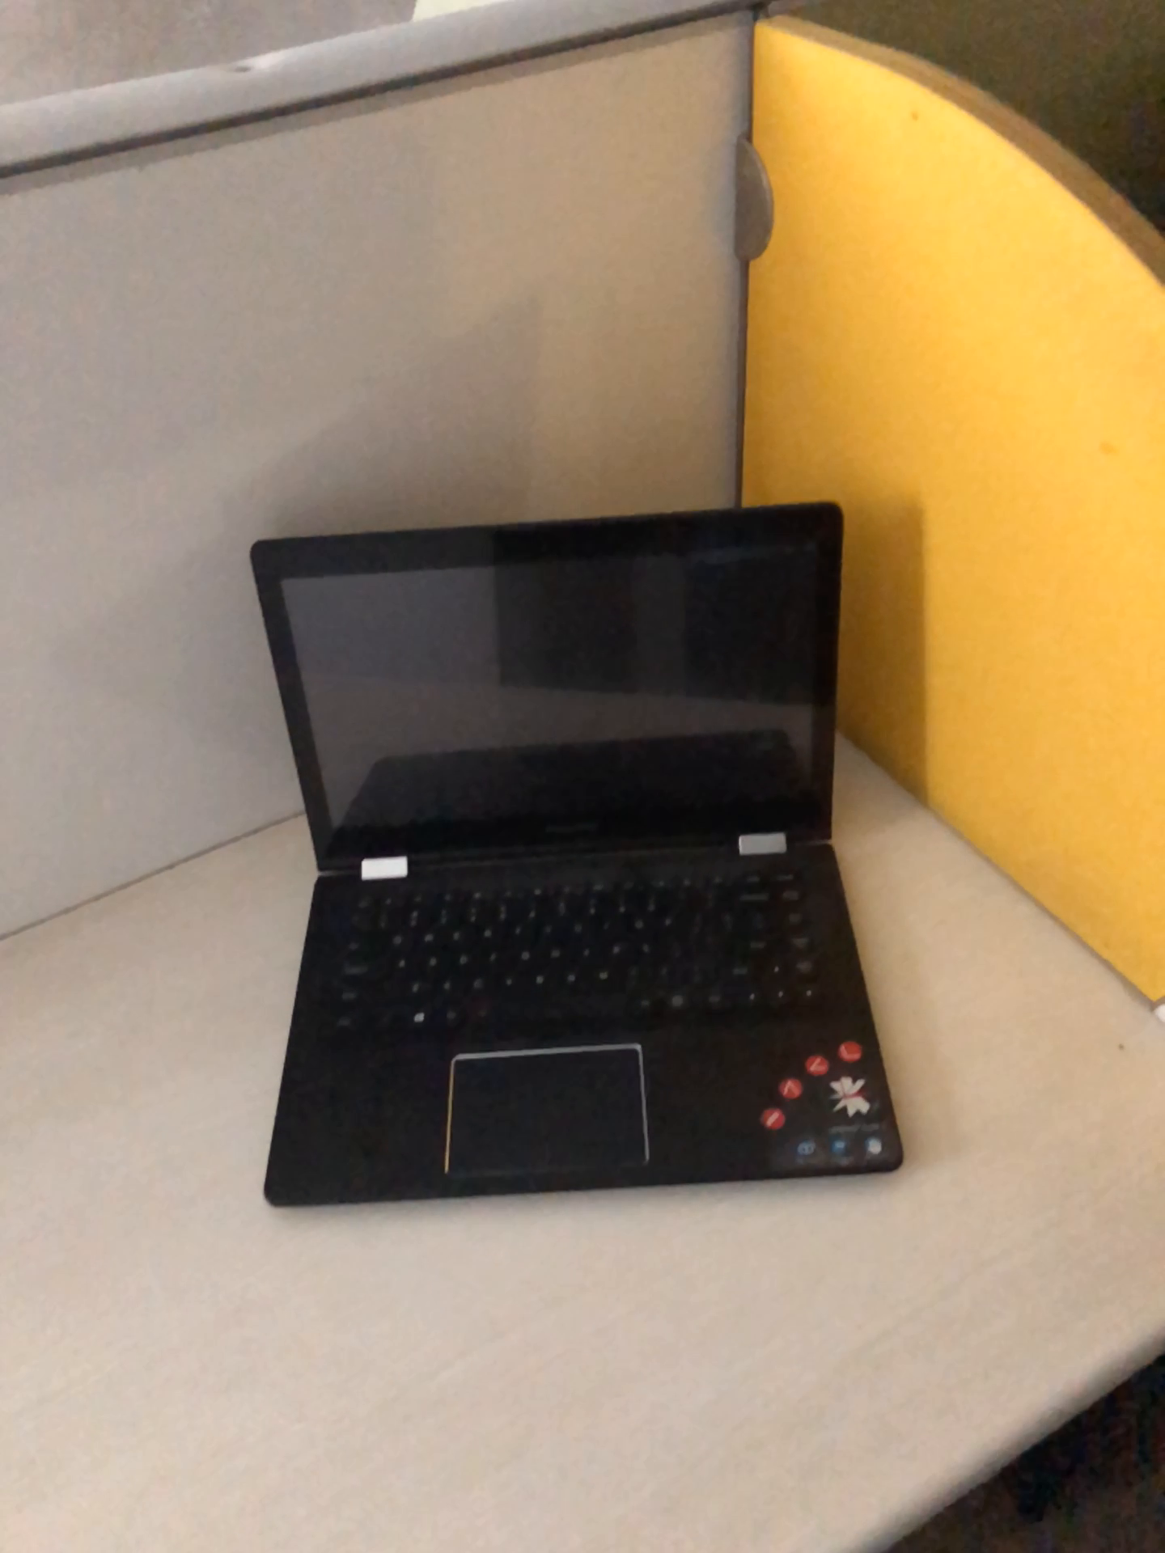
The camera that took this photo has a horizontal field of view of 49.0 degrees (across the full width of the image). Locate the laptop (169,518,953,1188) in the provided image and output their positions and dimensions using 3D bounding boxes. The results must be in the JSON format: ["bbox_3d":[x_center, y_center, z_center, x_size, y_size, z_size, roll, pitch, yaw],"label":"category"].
[{"bbox_3d":[-0.008,0.037,0.681,0.311,0.225,0.265,-3,43,1],"label":"laptop"}]
